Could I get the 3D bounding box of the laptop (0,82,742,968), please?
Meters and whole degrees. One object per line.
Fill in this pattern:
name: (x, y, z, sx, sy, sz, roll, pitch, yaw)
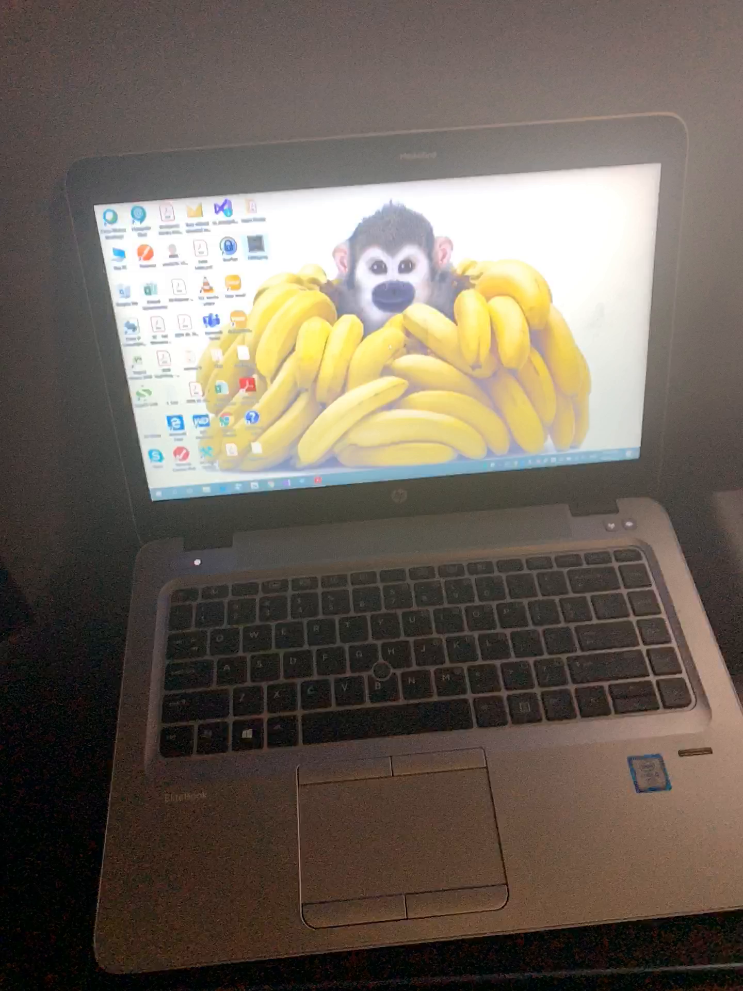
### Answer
laptop: (0.020, -0.004, 0.368, 0.318, 0.191, 0.327, -6, 52, -1)
